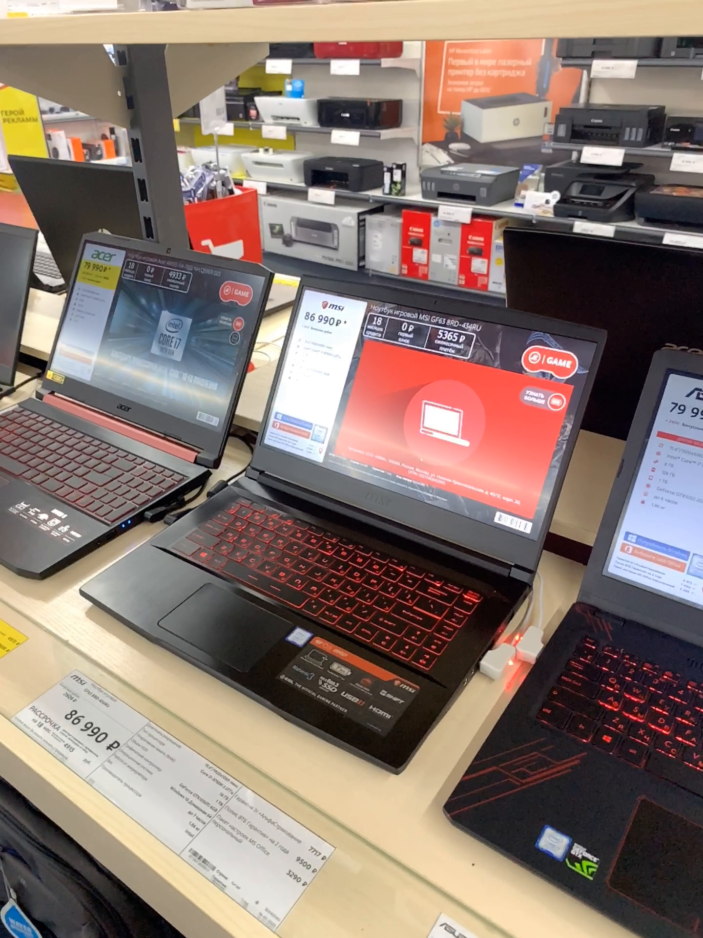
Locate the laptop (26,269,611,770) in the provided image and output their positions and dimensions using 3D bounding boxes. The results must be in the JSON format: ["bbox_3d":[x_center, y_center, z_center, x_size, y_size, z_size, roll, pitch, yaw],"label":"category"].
[{"bbox_3d":[-0.009,-0.009,0.671,0.351,0.204,0.371,18,37,29],"label":"laptop"}]

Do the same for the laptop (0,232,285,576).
[{"bbox_3d":[-0.338,-0.114,0.848,0.335,0.211,0.372,20,37,31],"label":"laptop"}]
